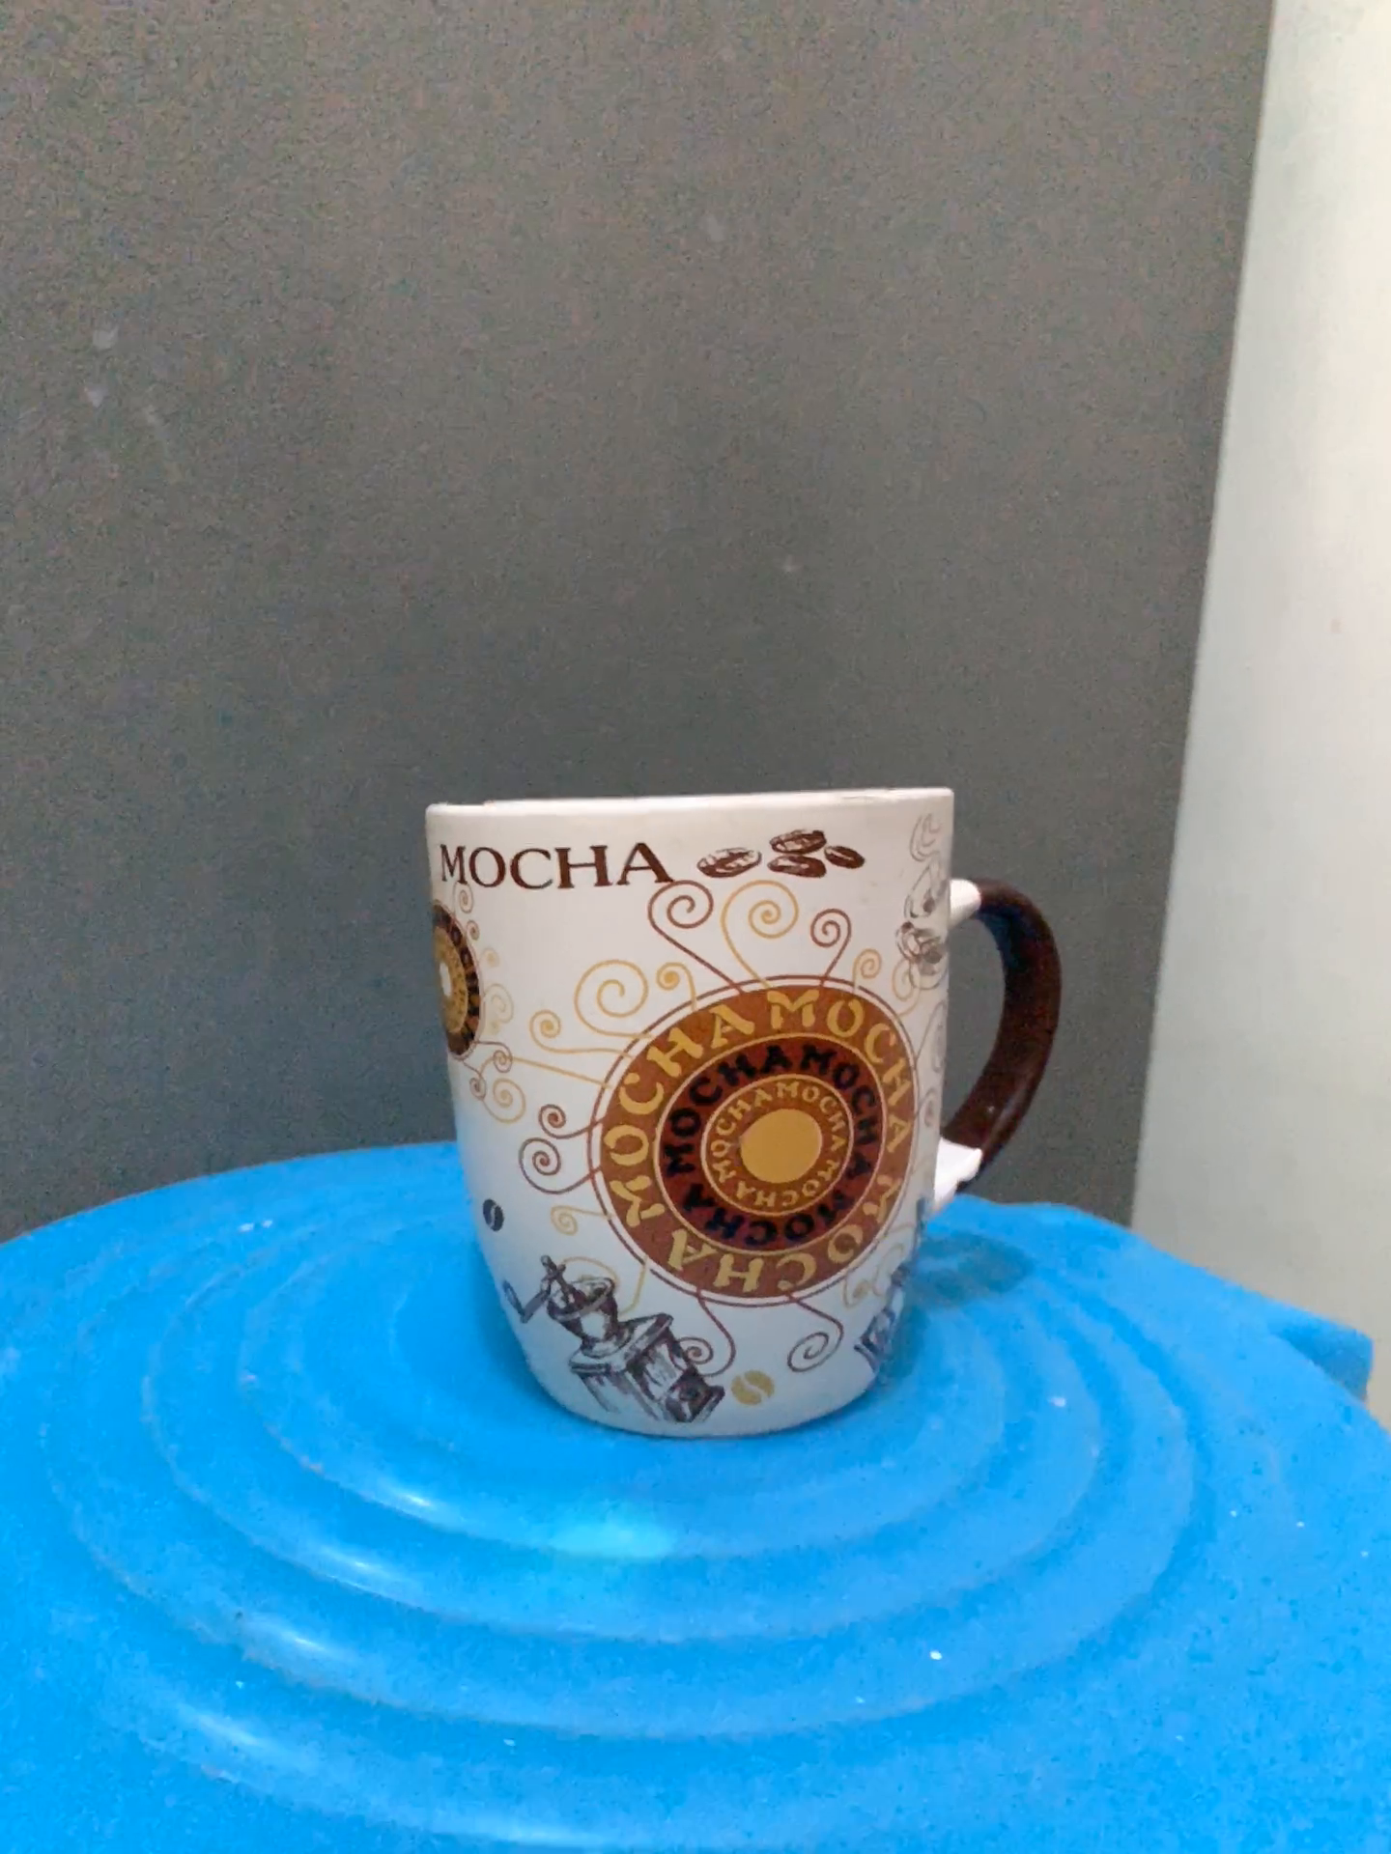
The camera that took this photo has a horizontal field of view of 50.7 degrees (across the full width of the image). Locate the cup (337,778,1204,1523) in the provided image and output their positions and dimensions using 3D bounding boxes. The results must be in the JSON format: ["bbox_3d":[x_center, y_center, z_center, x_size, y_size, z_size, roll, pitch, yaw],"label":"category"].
[{"bbox_3d":[0.012,0.020,0.223,0.109,0.083,0.070,-5,7,-35],"label":"cup"}]
